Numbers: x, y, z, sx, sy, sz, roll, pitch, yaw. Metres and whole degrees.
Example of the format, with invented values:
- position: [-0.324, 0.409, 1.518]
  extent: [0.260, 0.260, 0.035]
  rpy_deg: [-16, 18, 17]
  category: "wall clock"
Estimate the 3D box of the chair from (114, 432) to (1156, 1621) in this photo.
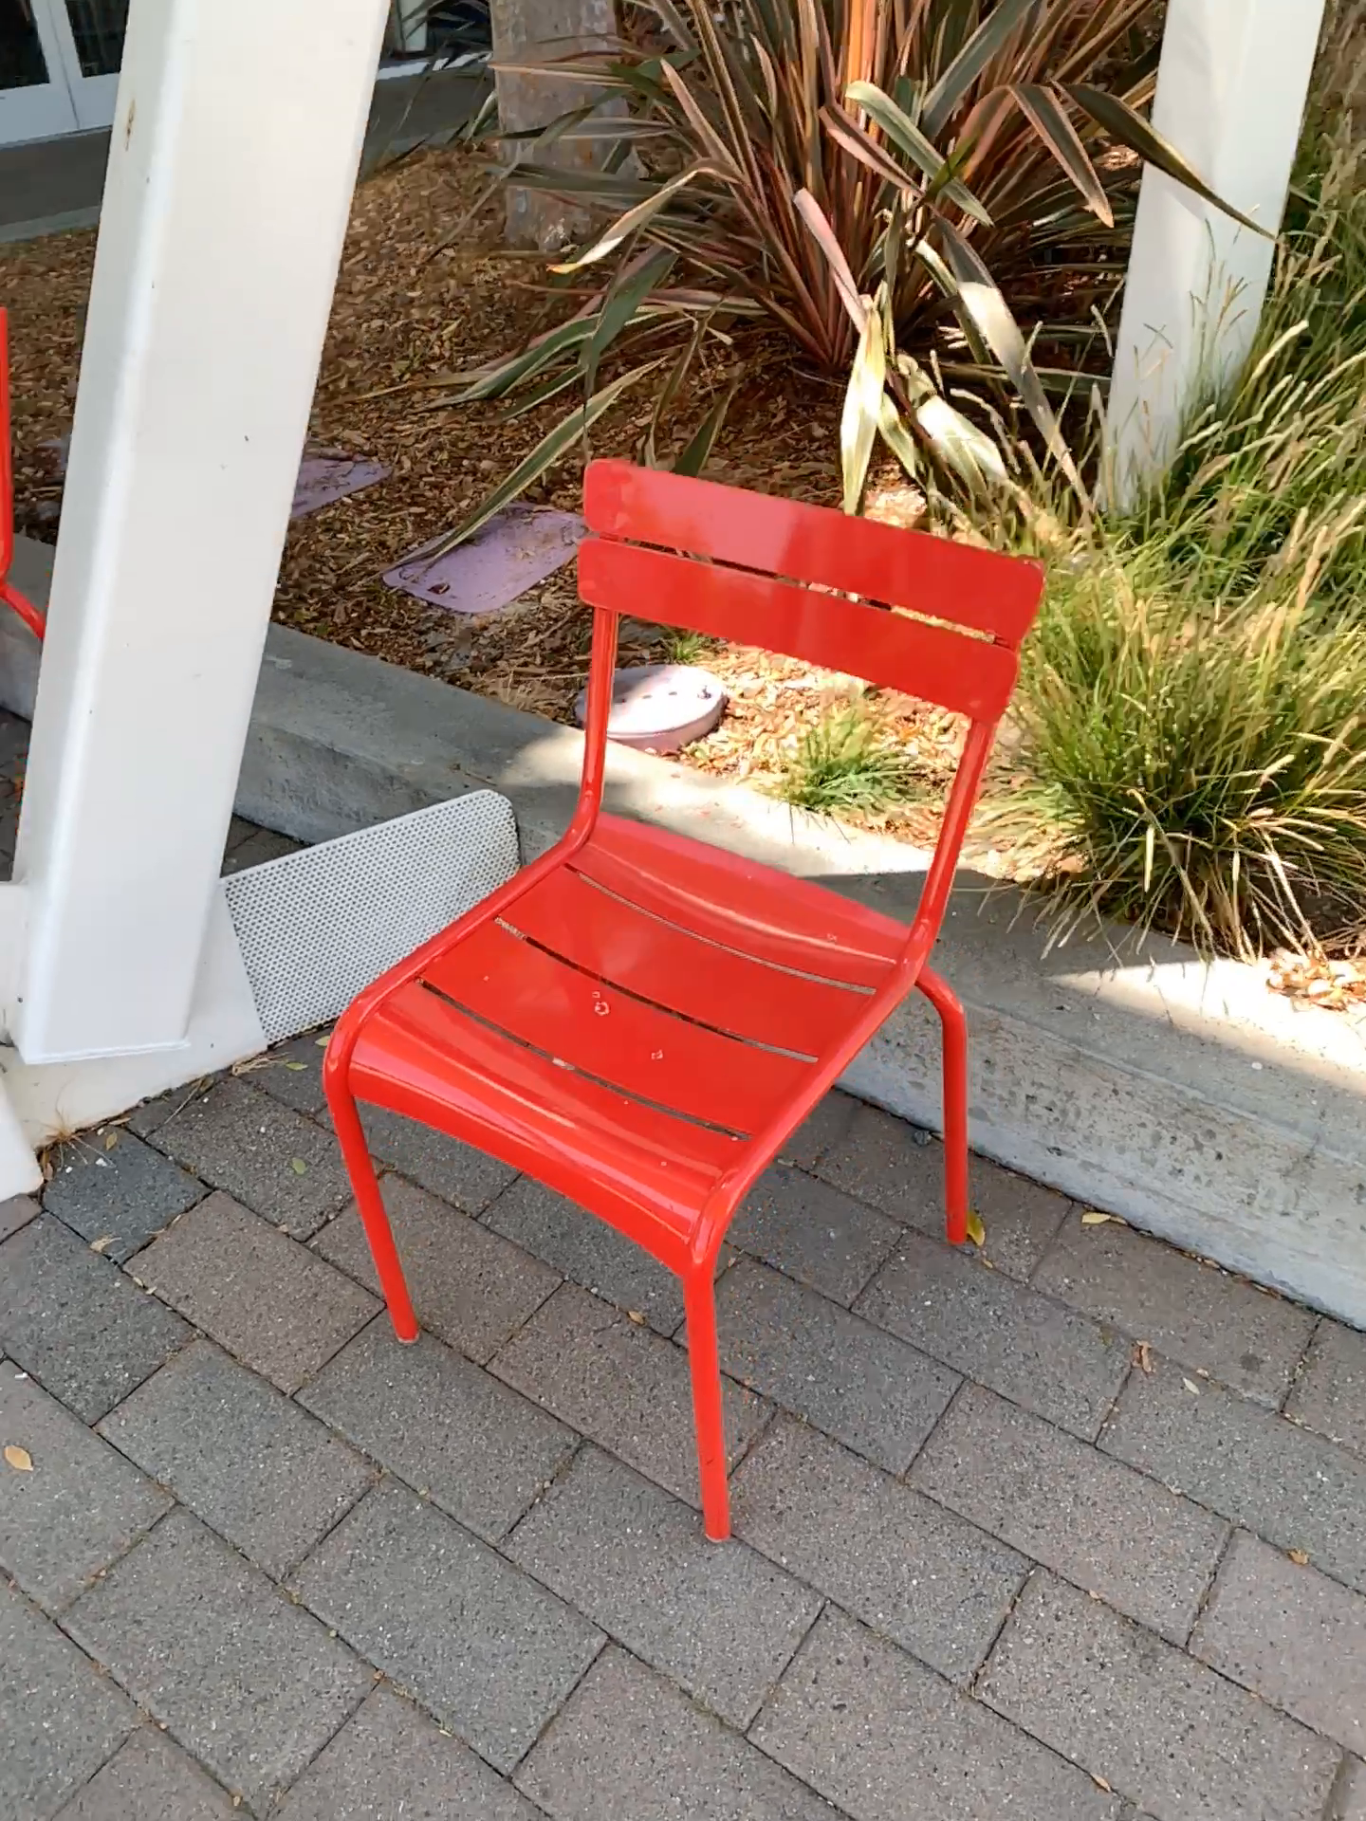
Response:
- position: [-0.003, 0.067, 1.364]
  extent: [0.582, 0.785, 0.632]
  rpy_deg: [21, 42, 28]
  category: "chair"
